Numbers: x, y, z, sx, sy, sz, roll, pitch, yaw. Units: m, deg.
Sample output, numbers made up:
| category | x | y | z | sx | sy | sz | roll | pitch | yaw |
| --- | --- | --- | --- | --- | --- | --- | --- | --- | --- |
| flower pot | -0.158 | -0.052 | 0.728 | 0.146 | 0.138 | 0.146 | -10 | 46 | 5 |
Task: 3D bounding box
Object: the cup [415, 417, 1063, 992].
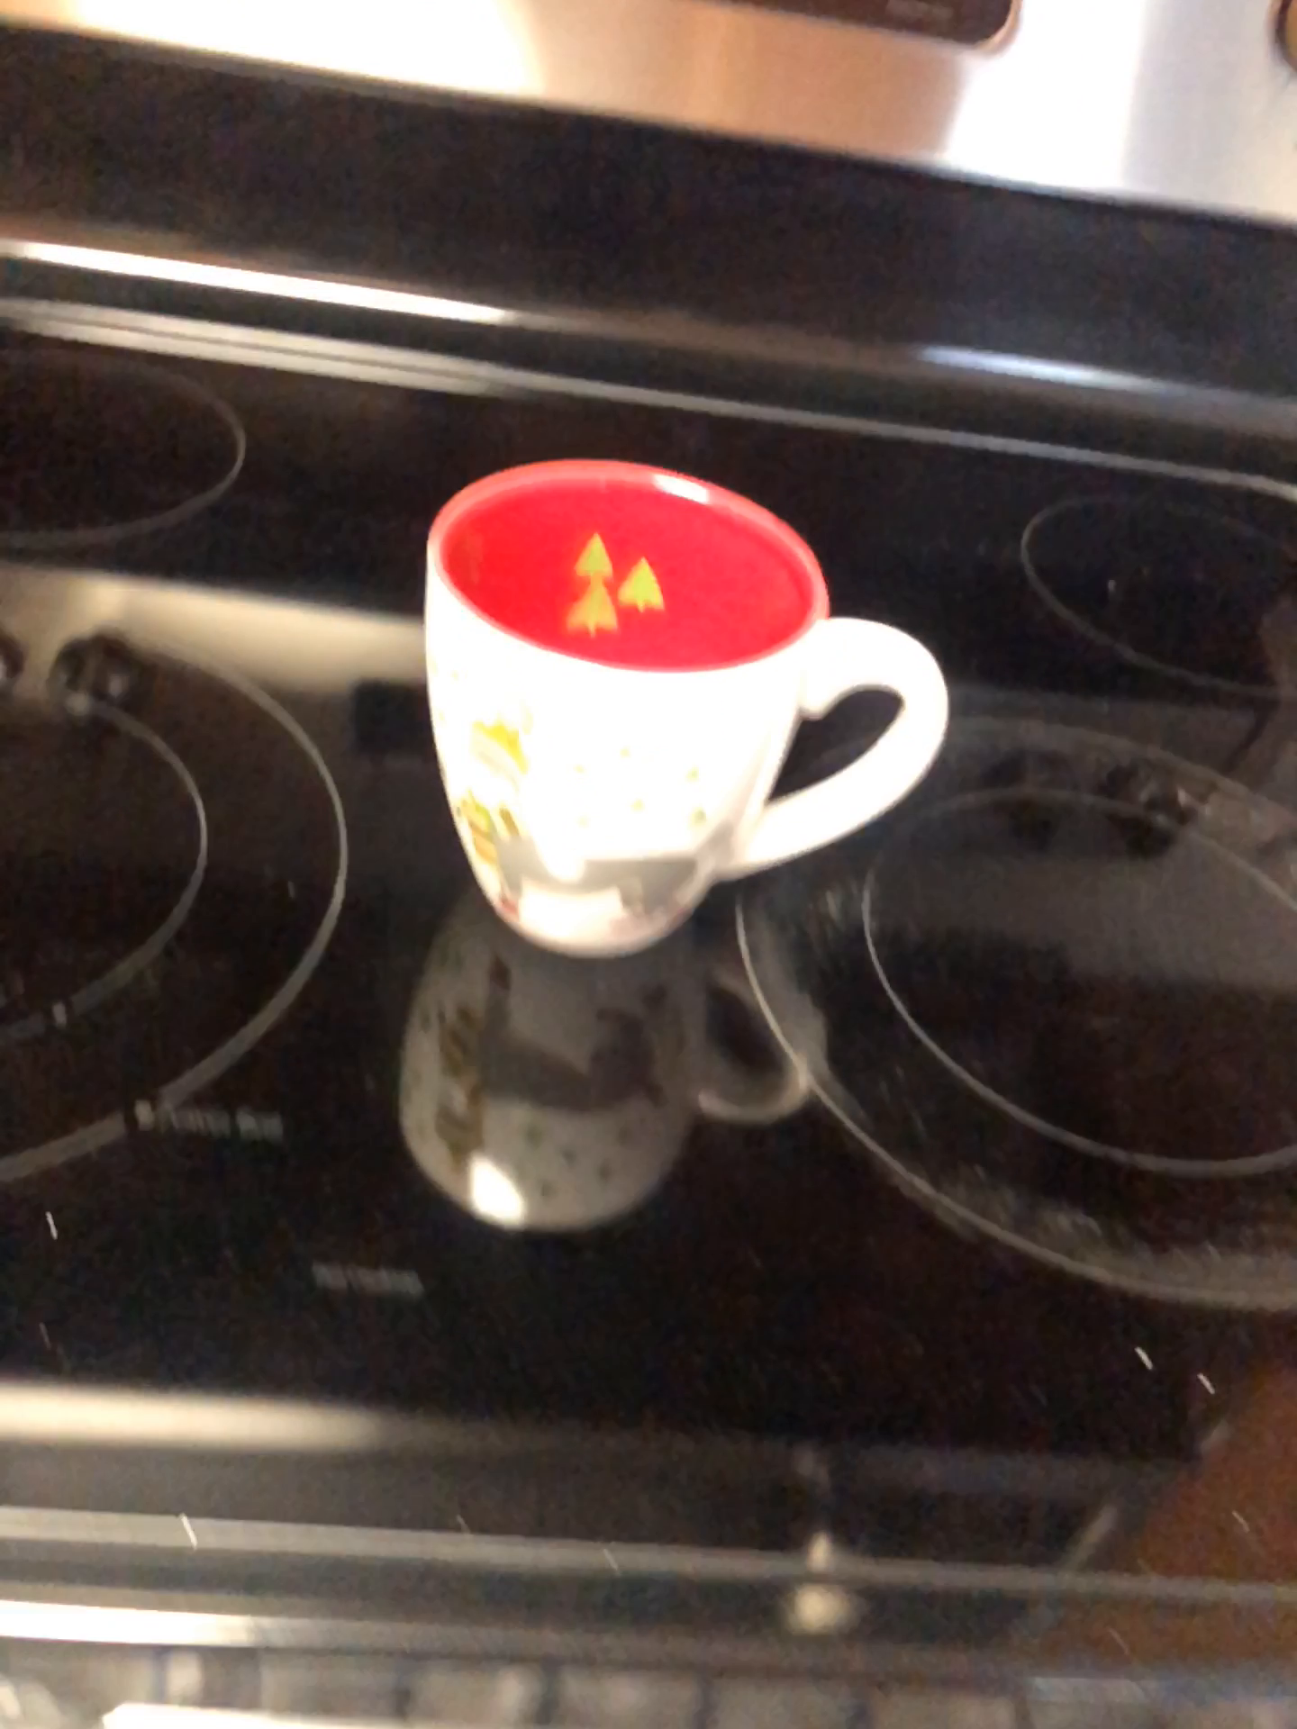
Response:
| category | x | y | z | sx | sy | sz | roll | pitch | yaw |
| --- | --- | --- | --- | --- | --- | --- | --- | --- | --- |
| cup | 0.014 | -0.042 | 0.386 | 0.140 | 0.100 | 0.100 | 5 | 42 | -8 |
